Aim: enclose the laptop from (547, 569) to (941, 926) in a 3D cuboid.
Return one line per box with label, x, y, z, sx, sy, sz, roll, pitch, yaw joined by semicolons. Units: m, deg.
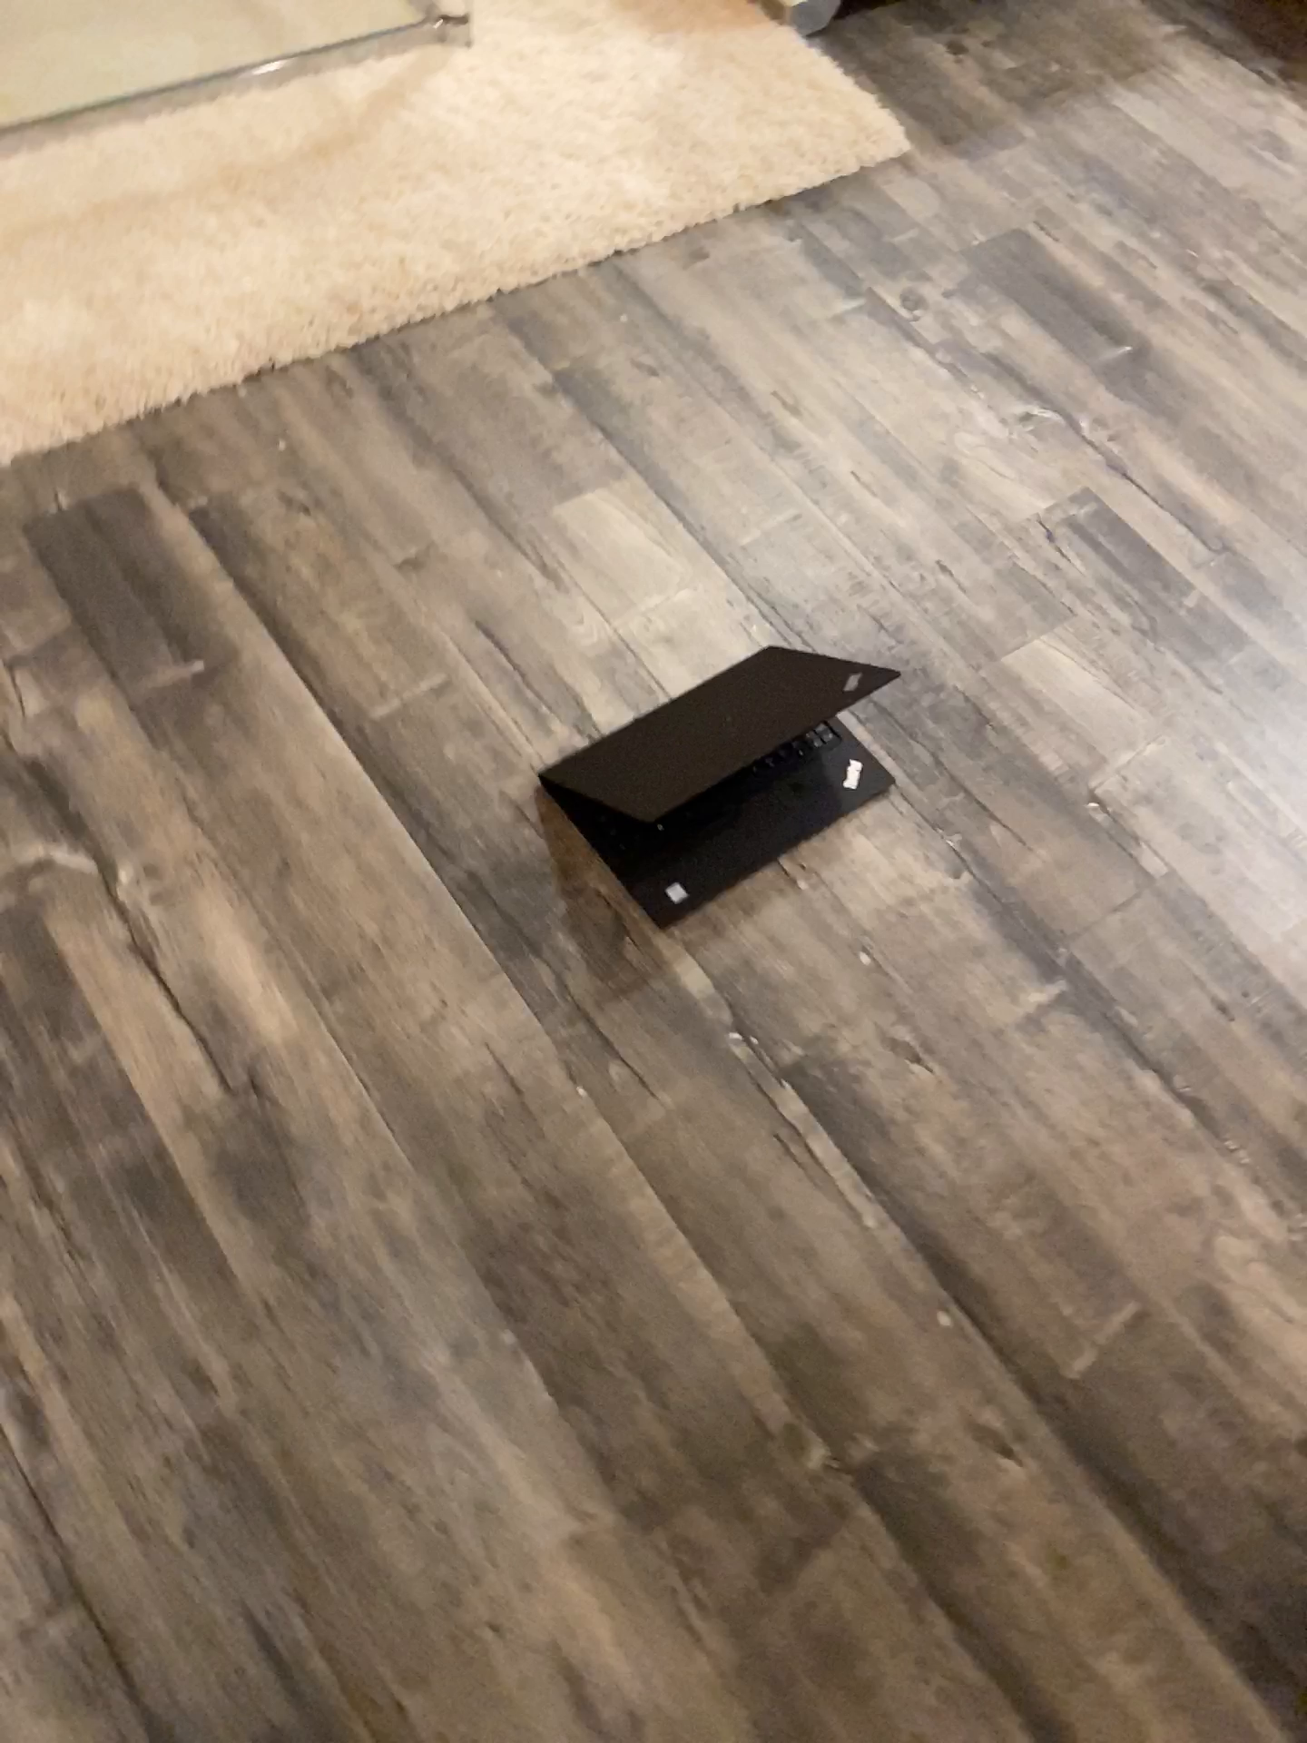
laptop;0.087;-0.131;1.343;0.315;0.124;0.219;-31;68;-23
